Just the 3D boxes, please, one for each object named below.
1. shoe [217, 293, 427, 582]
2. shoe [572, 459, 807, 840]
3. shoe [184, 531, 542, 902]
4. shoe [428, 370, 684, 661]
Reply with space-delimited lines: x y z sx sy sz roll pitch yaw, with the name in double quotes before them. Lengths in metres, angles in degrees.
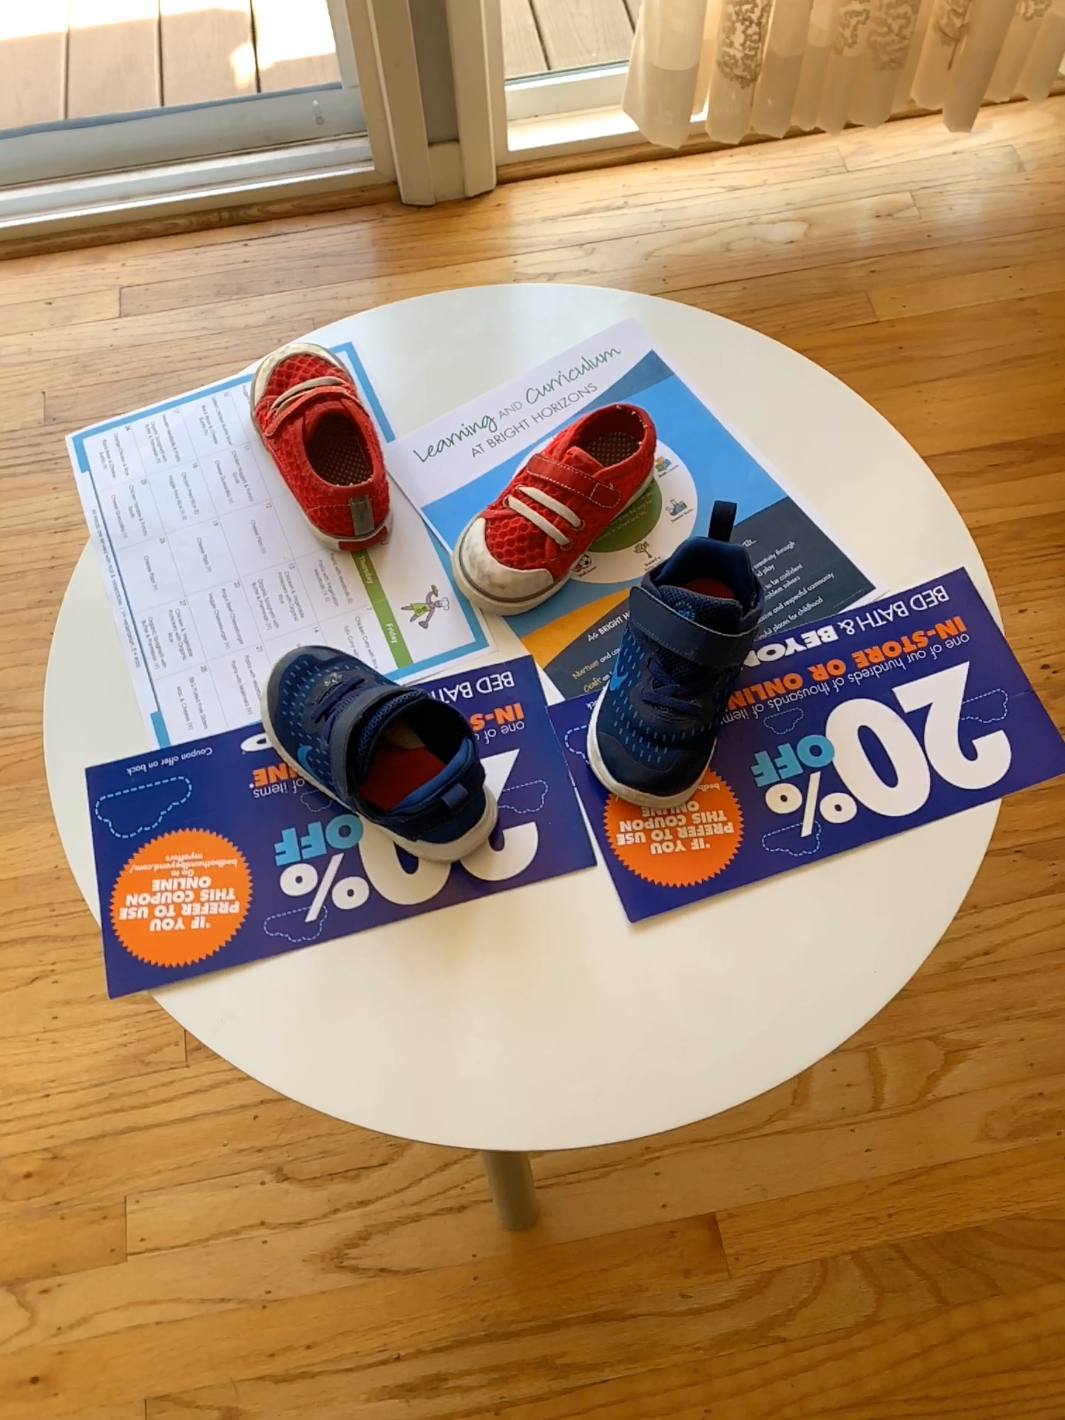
"shoe" -0.134 -0.175 0.695 0.070 0.070 0.160 -23 66 -9
"shoe" 0.082 -0.031 0.577 0.080 0.100 0.160 14 66 9
"shoe" -0.079 0.005 0.545 0.150 0.100 0.080 38 71 18
"shoe" 0.017 -0.118 0.658 0.060 0.070 0.160 36 71 17
